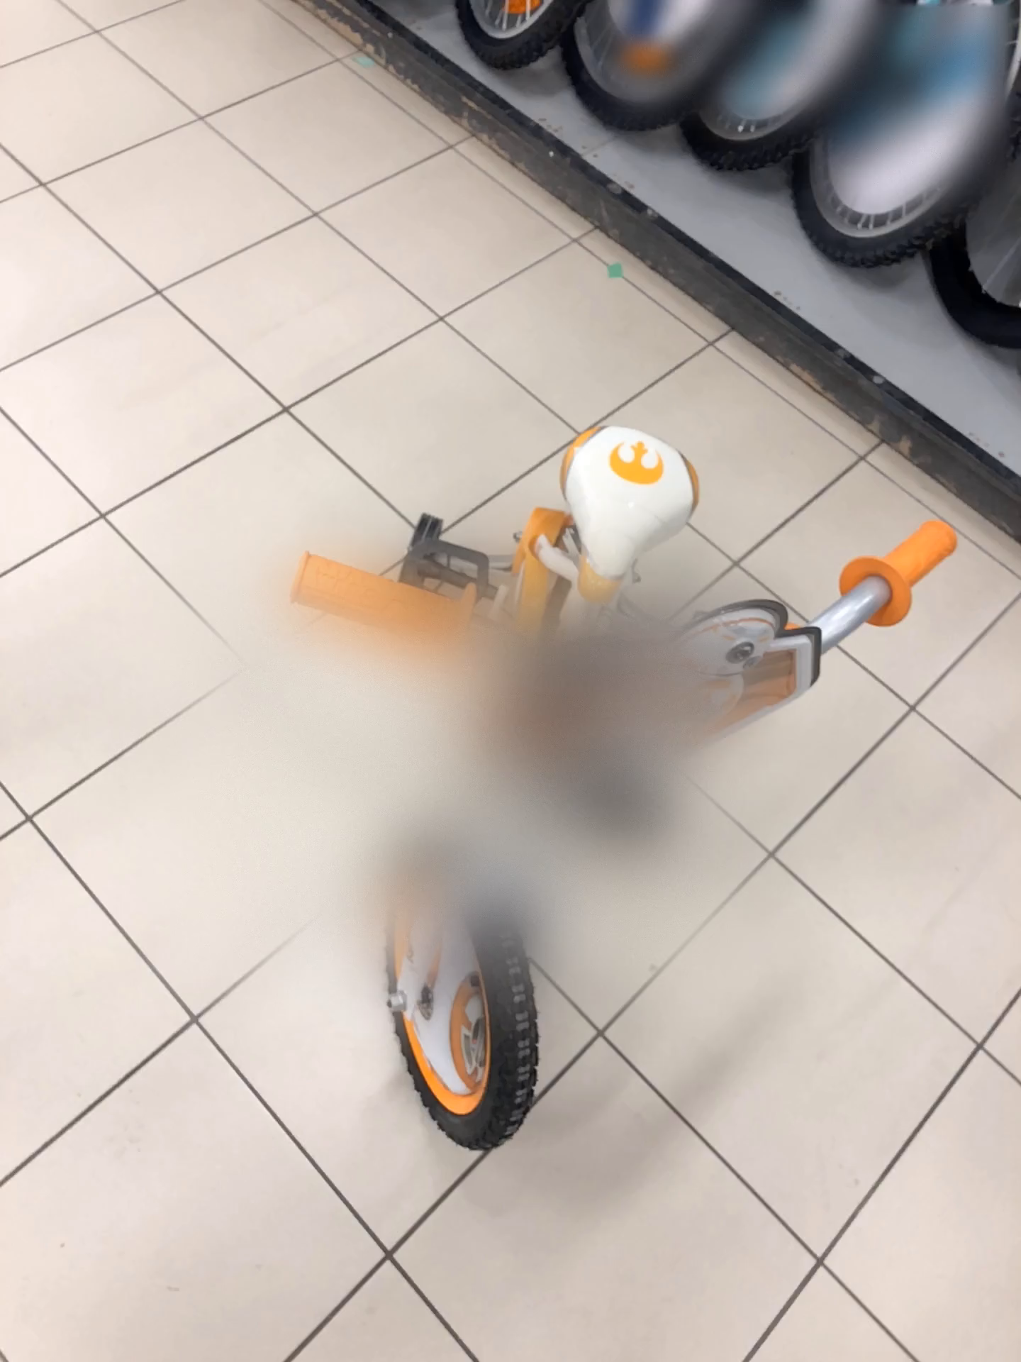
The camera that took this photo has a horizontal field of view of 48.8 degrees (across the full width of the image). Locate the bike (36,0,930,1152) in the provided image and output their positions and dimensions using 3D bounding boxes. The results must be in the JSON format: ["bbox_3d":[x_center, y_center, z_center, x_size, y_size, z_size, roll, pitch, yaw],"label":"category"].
[{"bbox_3d":[0.024,-0.047,1.060,0.435,0.714,0.818,10,60,-2],"label":"bike"}]
